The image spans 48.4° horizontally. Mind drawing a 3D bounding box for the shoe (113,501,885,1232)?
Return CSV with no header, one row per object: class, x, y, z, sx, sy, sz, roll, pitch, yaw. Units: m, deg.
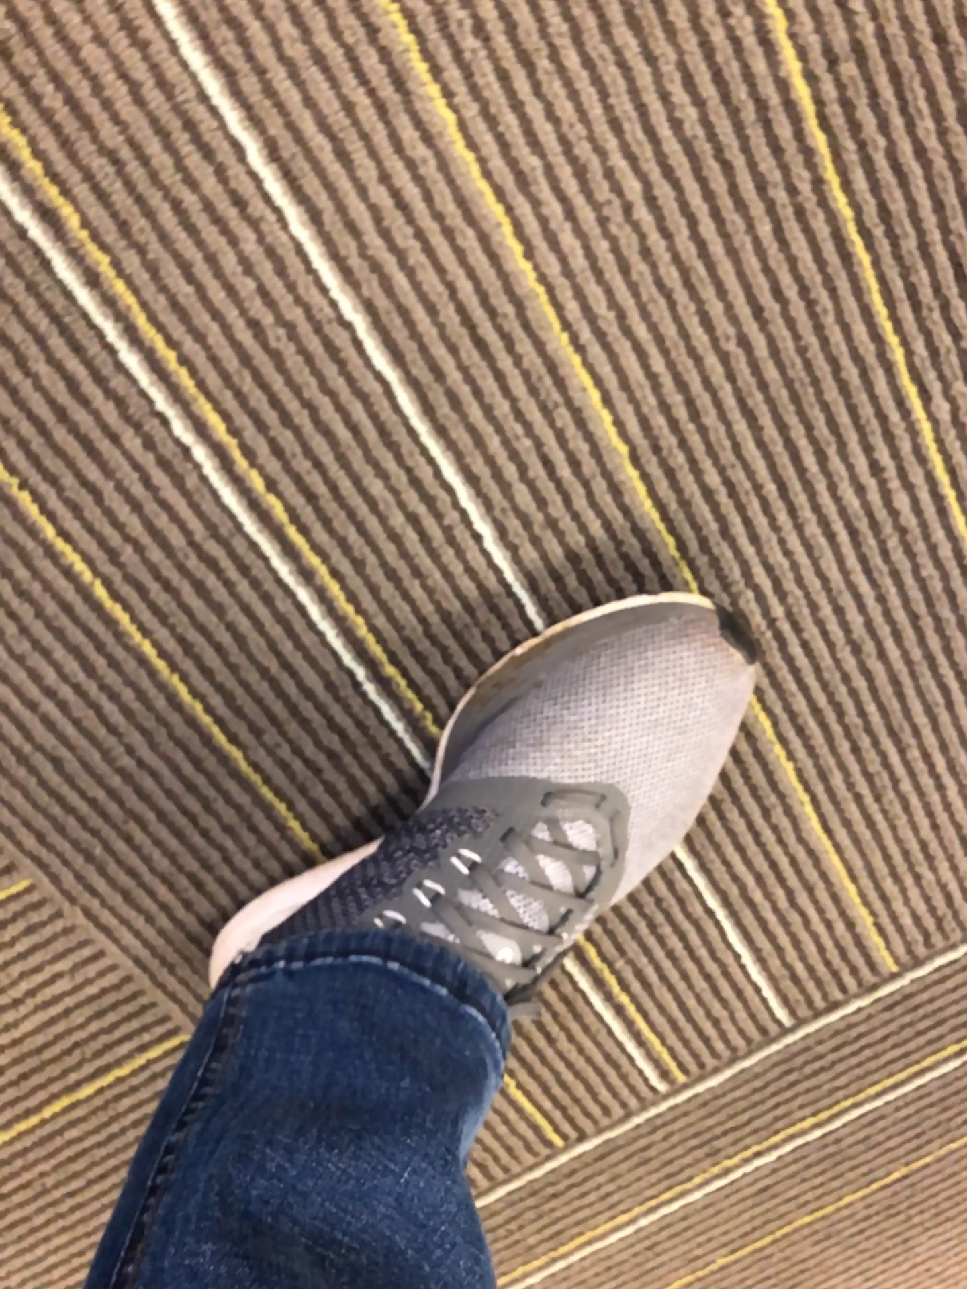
shoe,0.004,0.093,0.441,0.300,0.060,0.120,-43,114,3
